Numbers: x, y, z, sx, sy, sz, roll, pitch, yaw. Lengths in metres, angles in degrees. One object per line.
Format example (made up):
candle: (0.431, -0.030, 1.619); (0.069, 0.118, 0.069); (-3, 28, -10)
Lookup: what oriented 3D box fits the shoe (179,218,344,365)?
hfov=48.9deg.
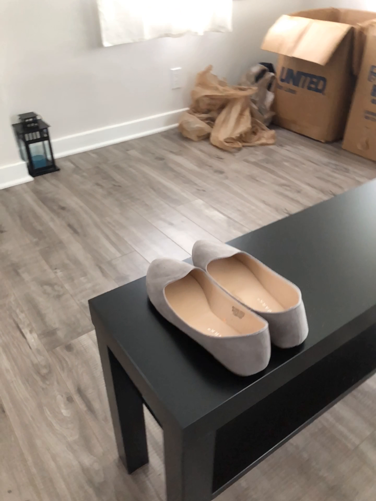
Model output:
shoe: (0.094, 0.046, 0.622); (0.100, 0.060, 0.251); (-20, 40, -26)

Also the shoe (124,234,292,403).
shoe: (0.014, 0.077, 0.579); (0.100, 0.060, 0.257); (-20, 40, -26)
